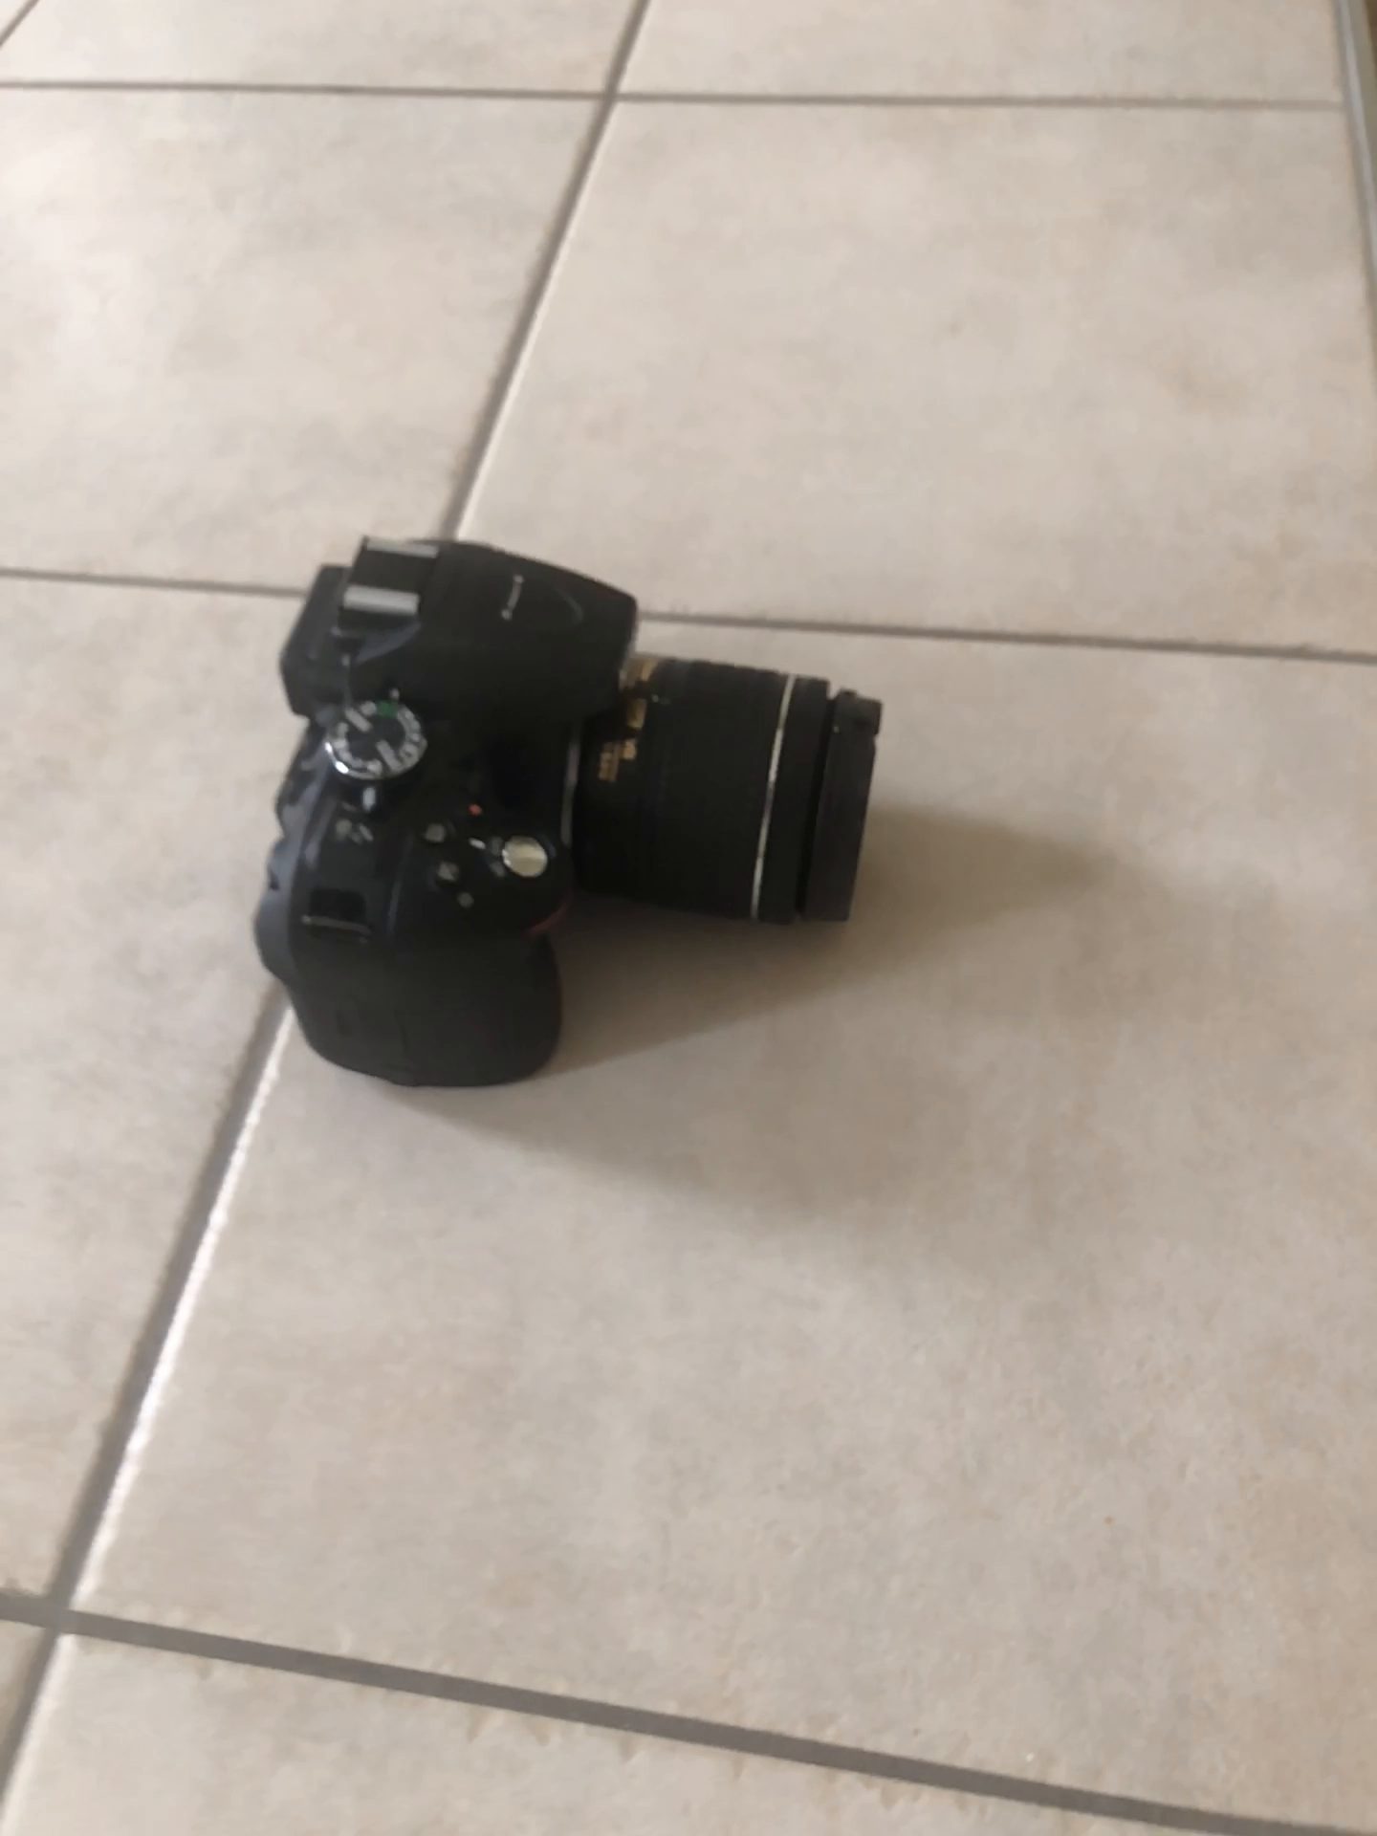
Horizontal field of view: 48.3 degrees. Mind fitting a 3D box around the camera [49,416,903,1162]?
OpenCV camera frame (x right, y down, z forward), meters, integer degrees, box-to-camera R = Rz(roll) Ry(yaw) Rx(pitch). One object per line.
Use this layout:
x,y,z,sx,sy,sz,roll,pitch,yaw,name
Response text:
-0.038,-0.034,0.380,0.160,0.090,0.141,8,57,7,camera
